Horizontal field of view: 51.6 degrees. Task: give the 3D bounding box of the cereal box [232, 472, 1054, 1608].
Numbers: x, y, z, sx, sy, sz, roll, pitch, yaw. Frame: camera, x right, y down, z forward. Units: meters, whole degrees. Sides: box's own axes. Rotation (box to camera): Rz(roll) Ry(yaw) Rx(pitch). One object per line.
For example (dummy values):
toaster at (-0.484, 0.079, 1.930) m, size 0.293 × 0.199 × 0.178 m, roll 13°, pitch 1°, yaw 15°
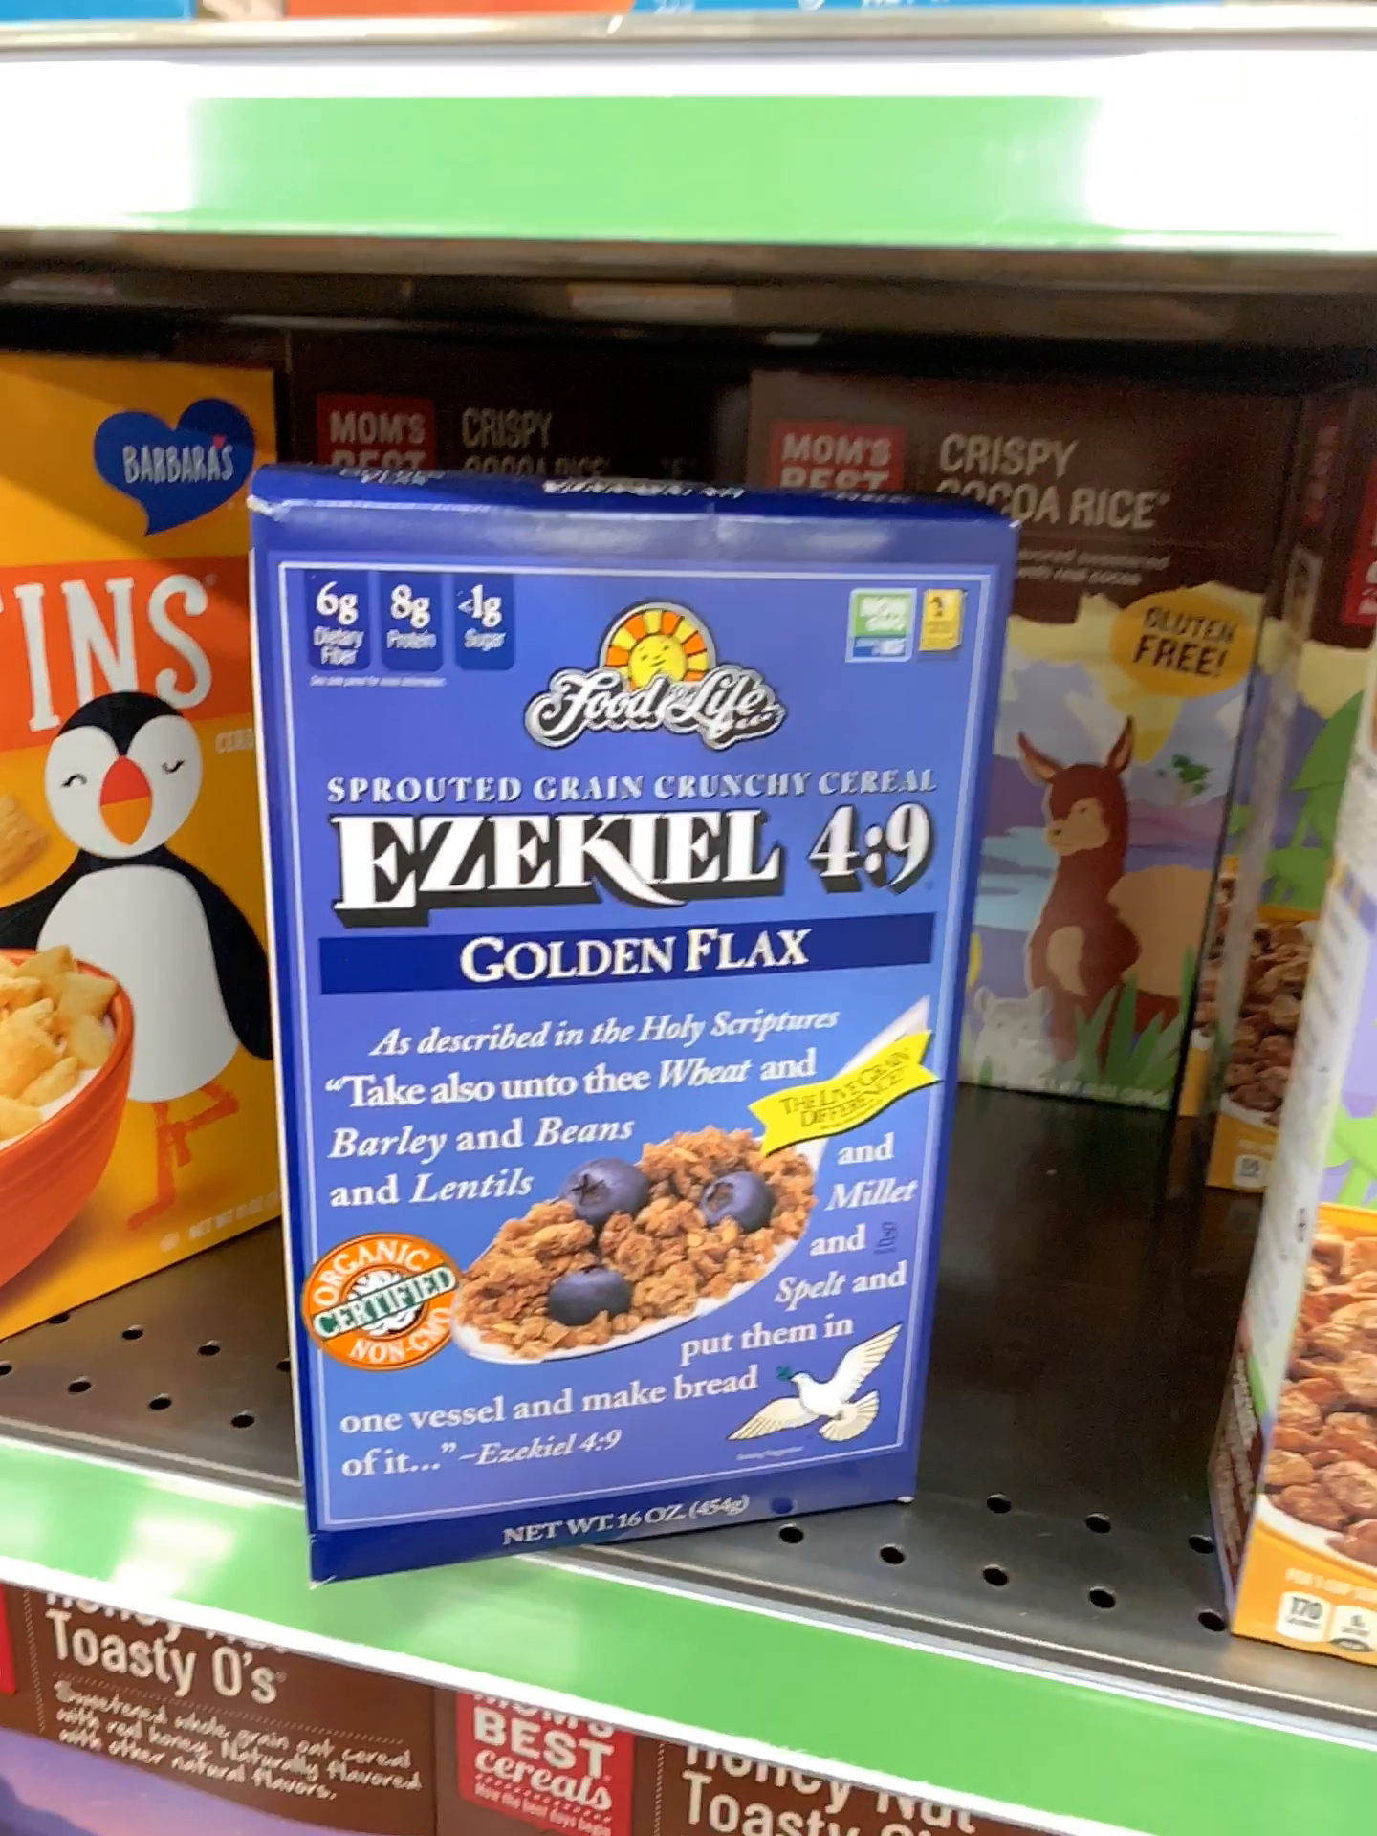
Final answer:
cereal box at (-0.014, 0.028, 0.337) m, size 0.160 × 0.249 × 0.060 m, roll -2°, pitch 18°, yaw -13°
